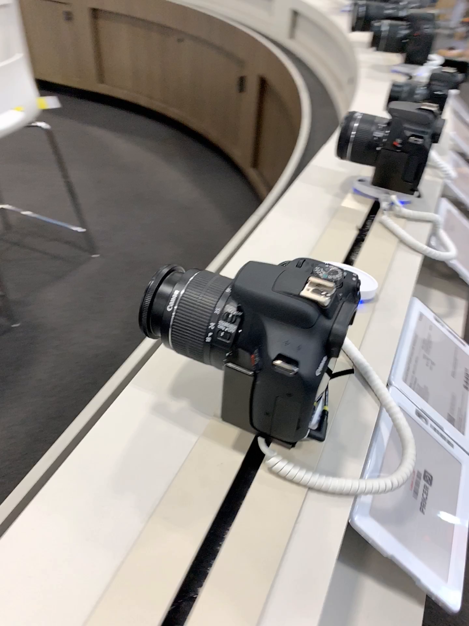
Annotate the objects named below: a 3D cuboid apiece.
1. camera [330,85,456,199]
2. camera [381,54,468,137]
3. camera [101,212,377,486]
[{"bbox_3d":[0.219,-0.240,0.670,0.135,0.089,0.122,16,43,14],"label":"camera"},{"bbox_3d":[0.326,-0.375,0.832,0.111,0.088,0.112,16,43,13],"label":"camera"},{"bbox_3d":[0.007,0.017,0.365,0.146,0.101,0.134,20,44,17],"label":"camera"}]
